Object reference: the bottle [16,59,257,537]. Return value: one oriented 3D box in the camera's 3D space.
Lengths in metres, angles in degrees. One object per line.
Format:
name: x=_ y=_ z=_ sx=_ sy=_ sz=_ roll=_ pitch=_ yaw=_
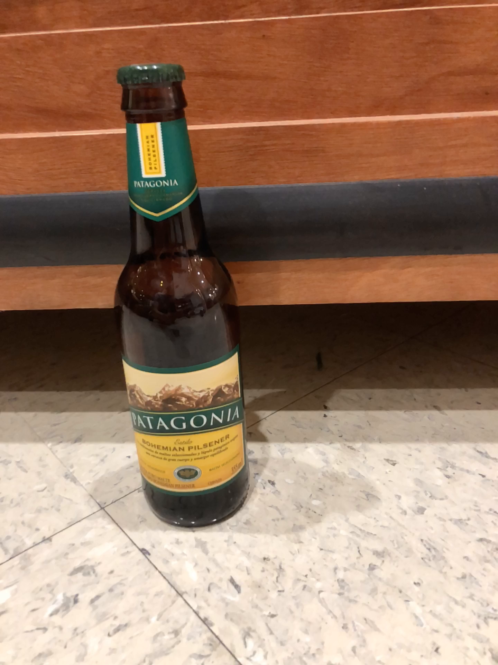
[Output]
bottle: x=-0.038 y=-0.007 z=0.265 sx=0.070 sy=0.218 sz=0.060 roll=-1 pitch=26 yaw=6
